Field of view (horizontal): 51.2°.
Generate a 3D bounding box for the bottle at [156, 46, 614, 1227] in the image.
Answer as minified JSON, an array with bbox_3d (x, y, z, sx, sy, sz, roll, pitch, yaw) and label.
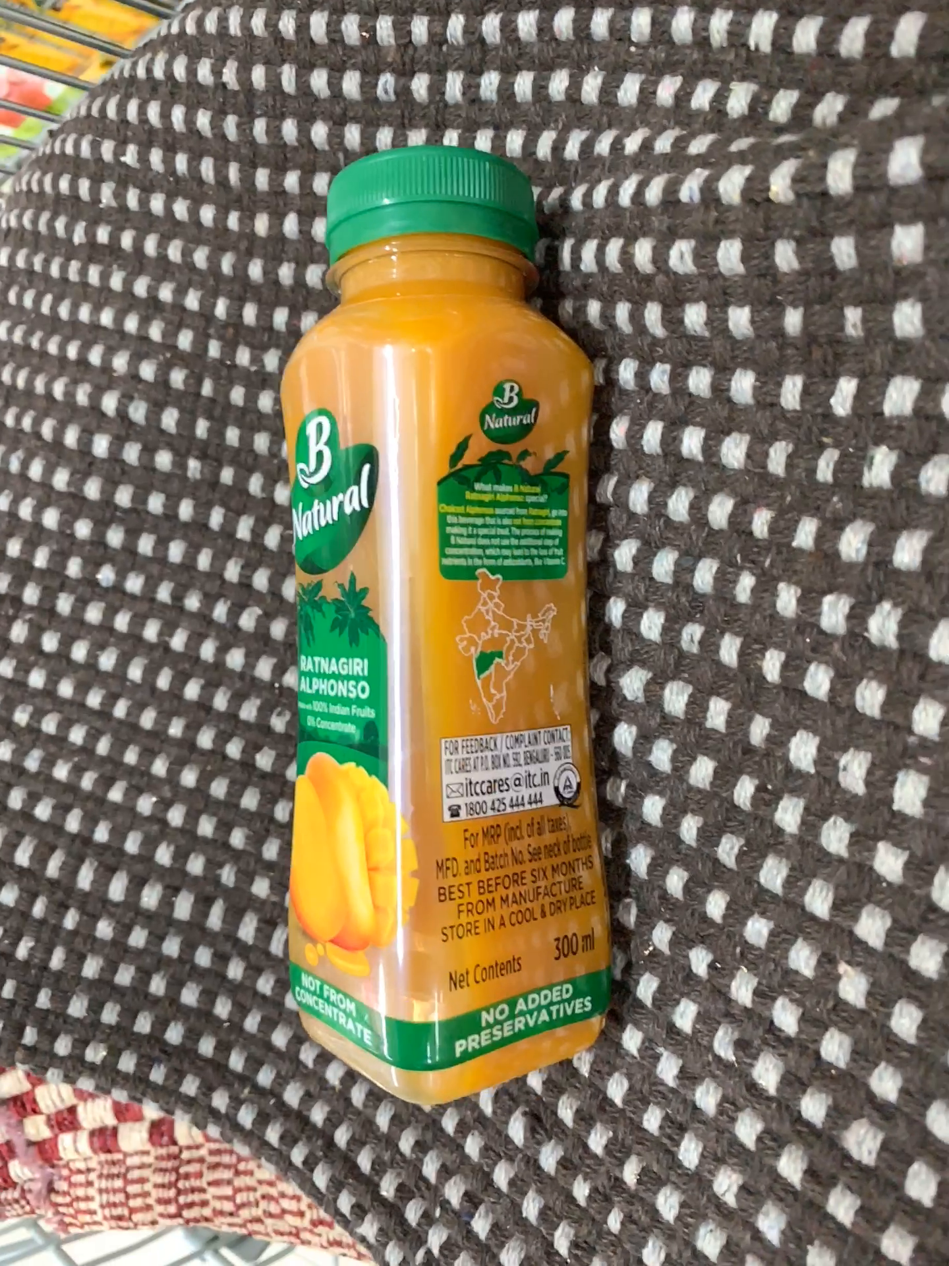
[{"bbox_3d":[-0.016,0.001,0.173,0.060,0.050,0.160,3,96,50],"label":"bottle"}]
